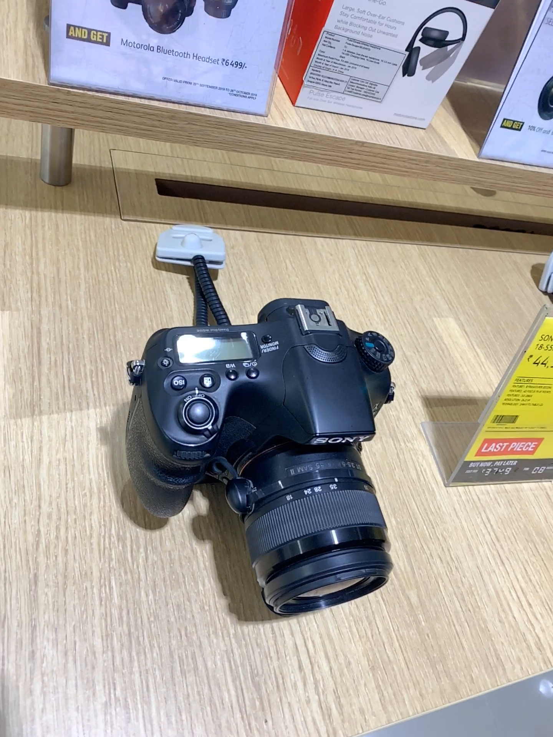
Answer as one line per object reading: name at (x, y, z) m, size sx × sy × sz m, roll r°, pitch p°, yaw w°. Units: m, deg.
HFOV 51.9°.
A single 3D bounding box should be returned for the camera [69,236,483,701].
camera at (-0.016, 0.030, 0.266) m, size 0.130 × 0.070 × 0.180 m, roll -3°, pitch 55°, yaw -27°
